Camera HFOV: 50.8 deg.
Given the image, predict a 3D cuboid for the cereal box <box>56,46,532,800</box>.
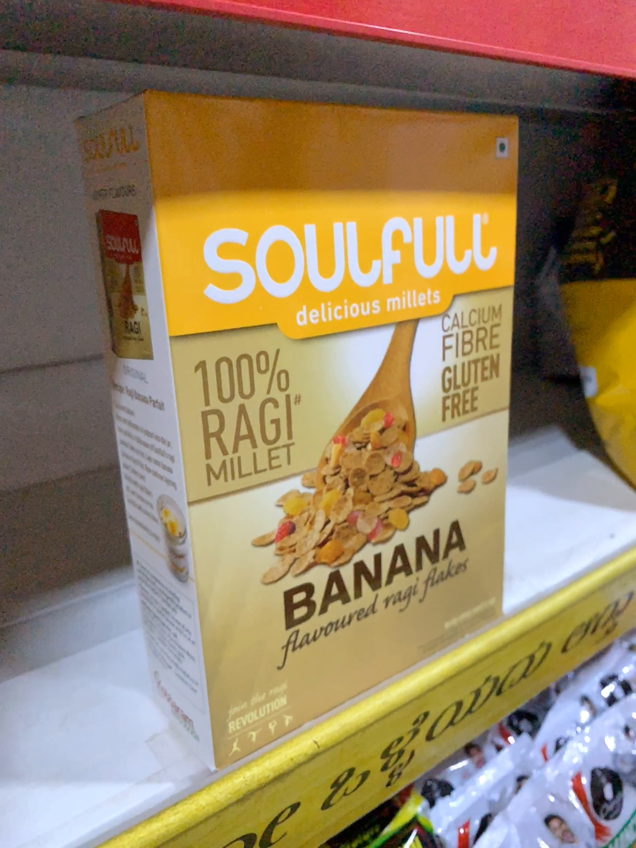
[{"bbox_3d":[0.006,-0.006,0.264,0.160,0.229,0.060,-15,20,-35],"label":"cereal box"}]
